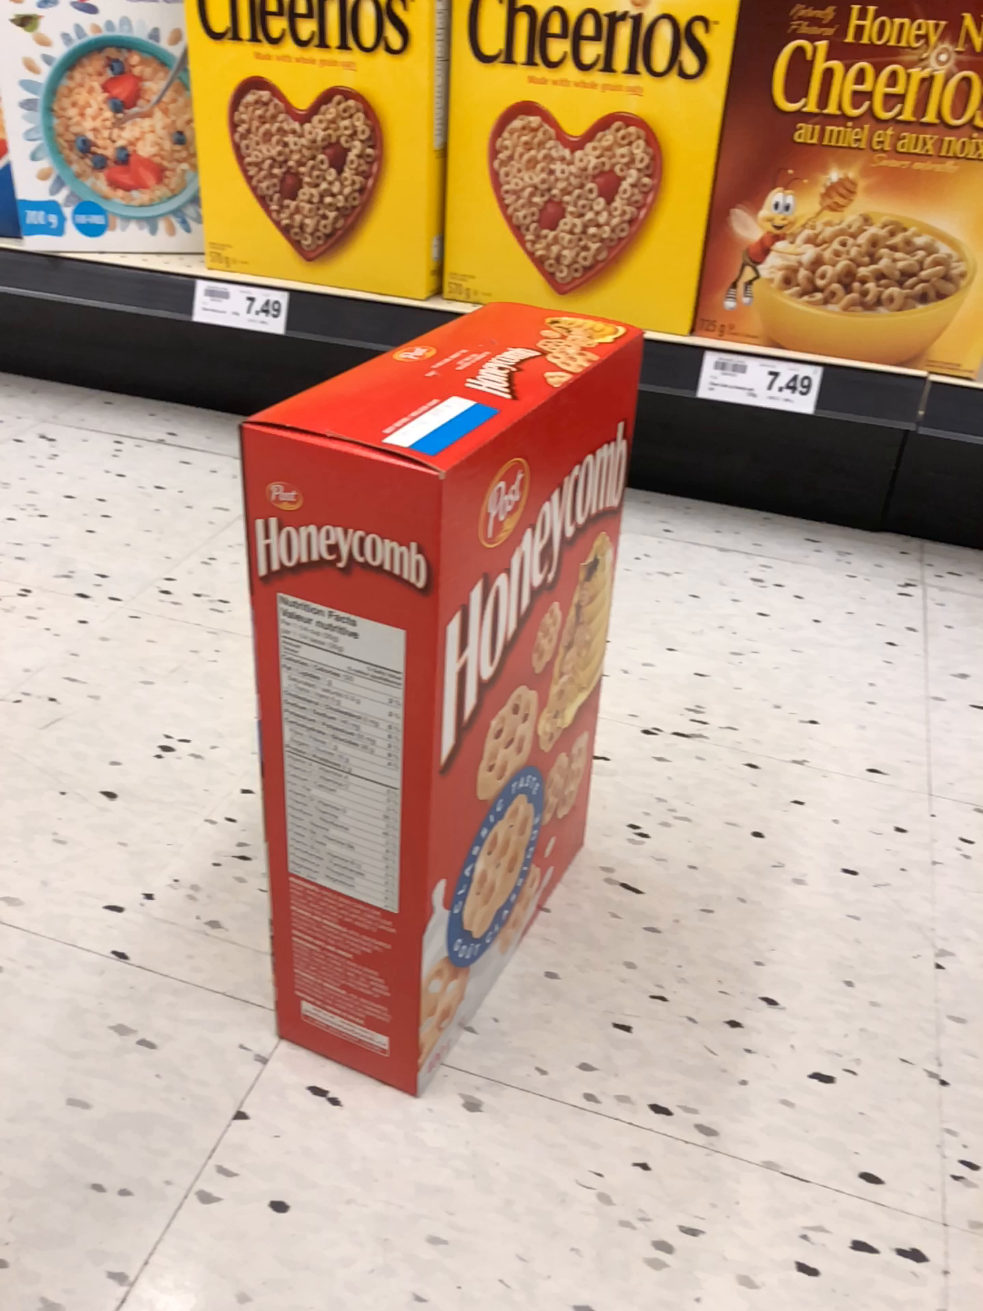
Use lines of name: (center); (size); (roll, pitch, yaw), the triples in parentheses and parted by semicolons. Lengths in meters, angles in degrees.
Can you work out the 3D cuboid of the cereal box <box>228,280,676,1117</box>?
cereal box: (-0.010, 0.013, 0.475); (0.080, 0.298, 0.201); (17, 34, 20)
